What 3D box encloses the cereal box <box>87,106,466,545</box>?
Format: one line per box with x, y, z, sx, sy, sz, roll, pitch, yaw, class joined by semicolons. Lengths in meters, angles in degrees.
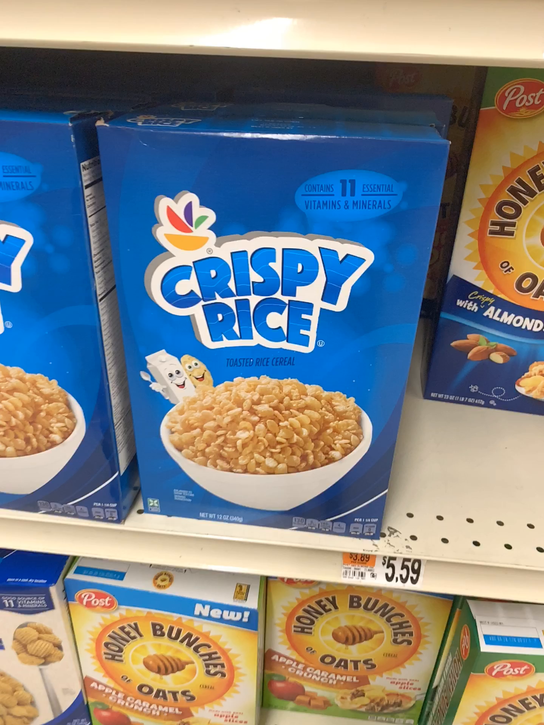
-0.002;-0.010;0.419;0.210;0.318;0.070;5;32;4;cereal box
